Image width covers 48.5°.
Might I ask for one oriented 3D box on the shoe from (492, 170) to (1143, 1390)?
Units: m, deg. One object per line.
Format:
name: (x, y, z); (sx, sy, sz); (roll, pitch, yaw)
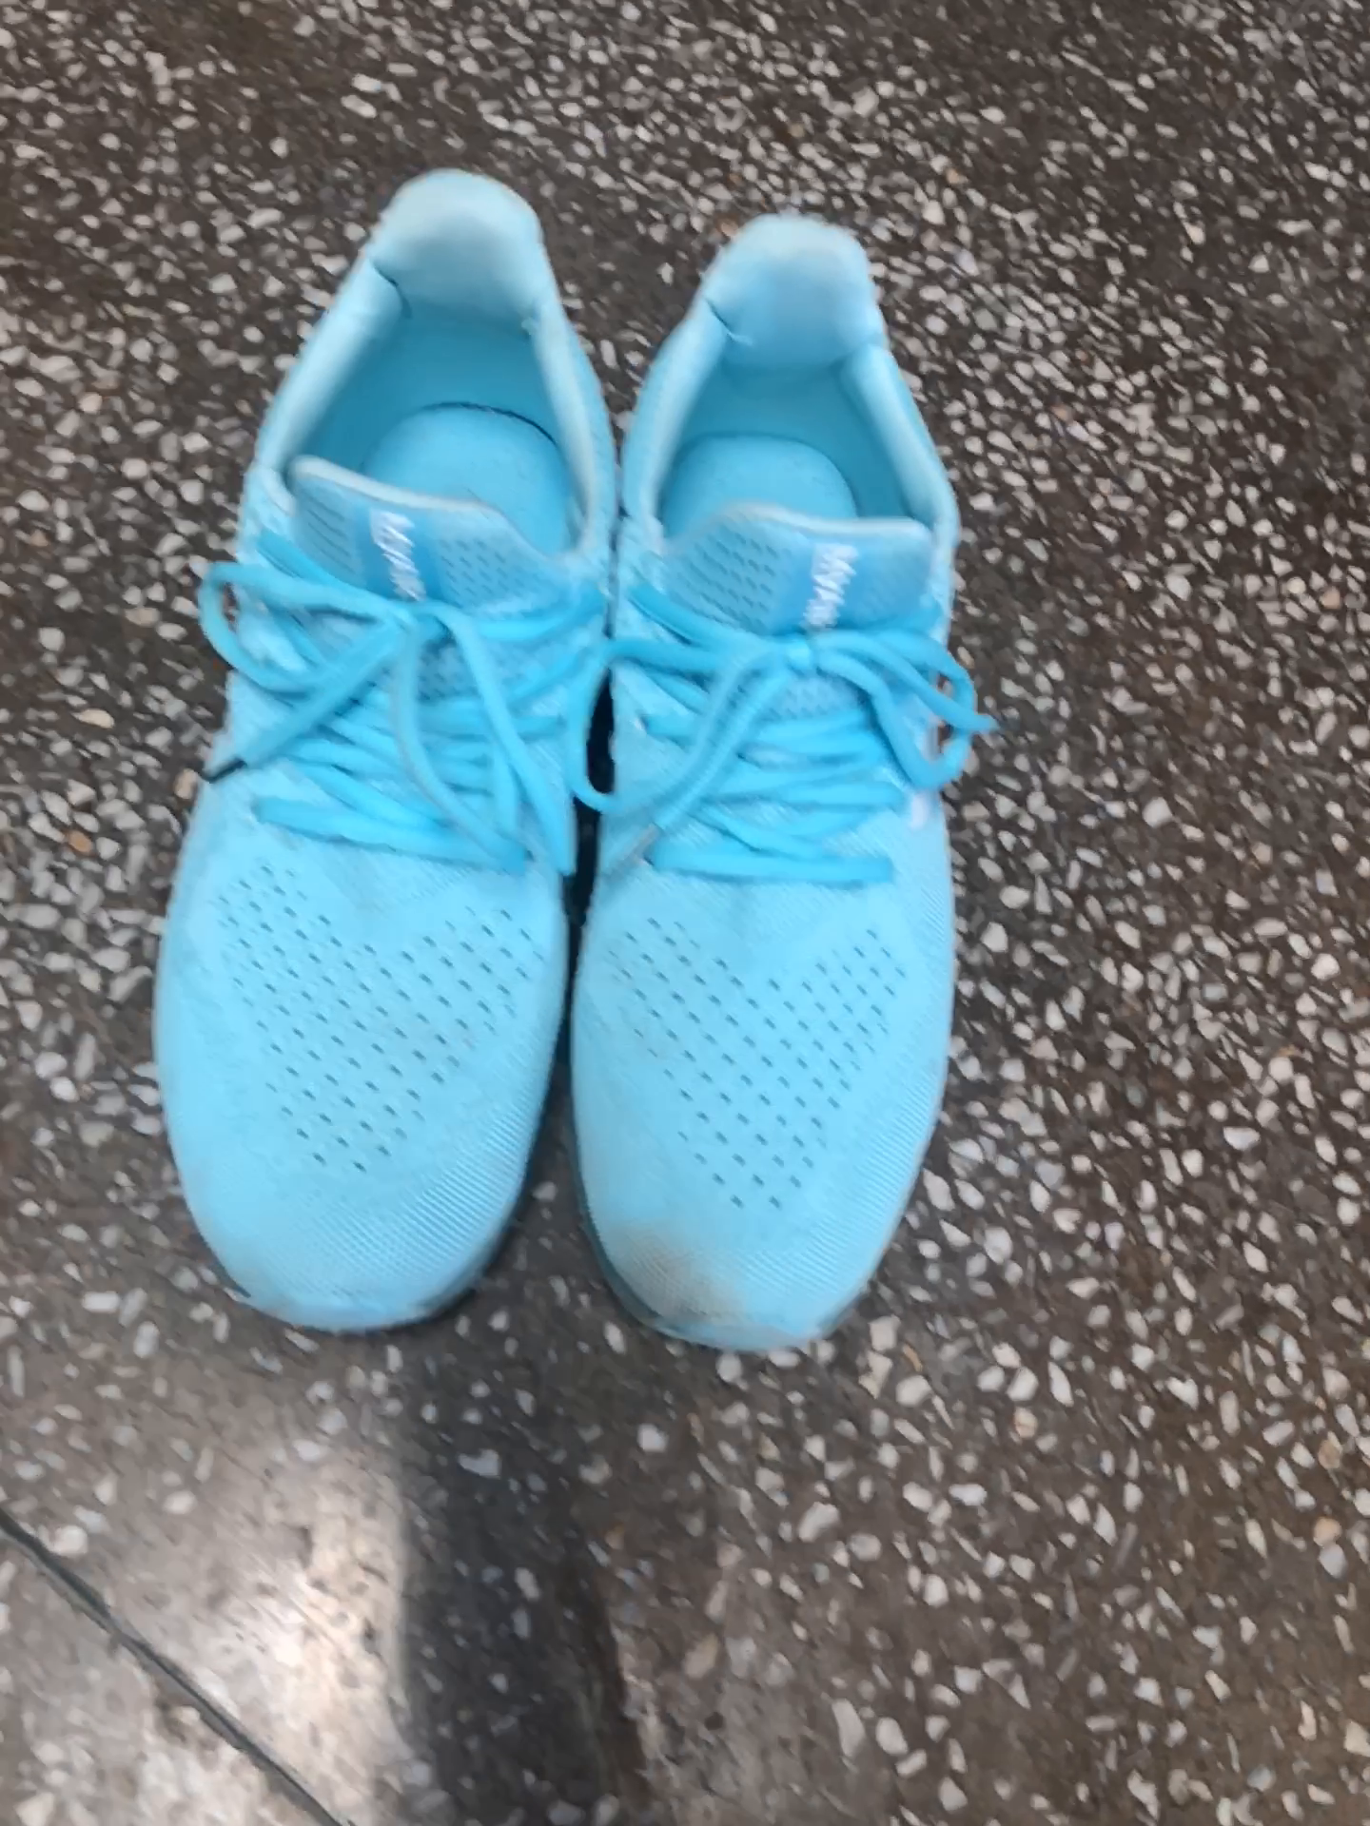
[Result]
shoe: (0.027, -0.029, 0.387); (0.120, 0.125, 0.271); (5, 68, -4)

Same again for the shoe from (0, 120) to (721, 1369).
shoe: (-0.069, -0.038, 0.381); (0.120, 0.125, 0.271); (7, 68, -3)
